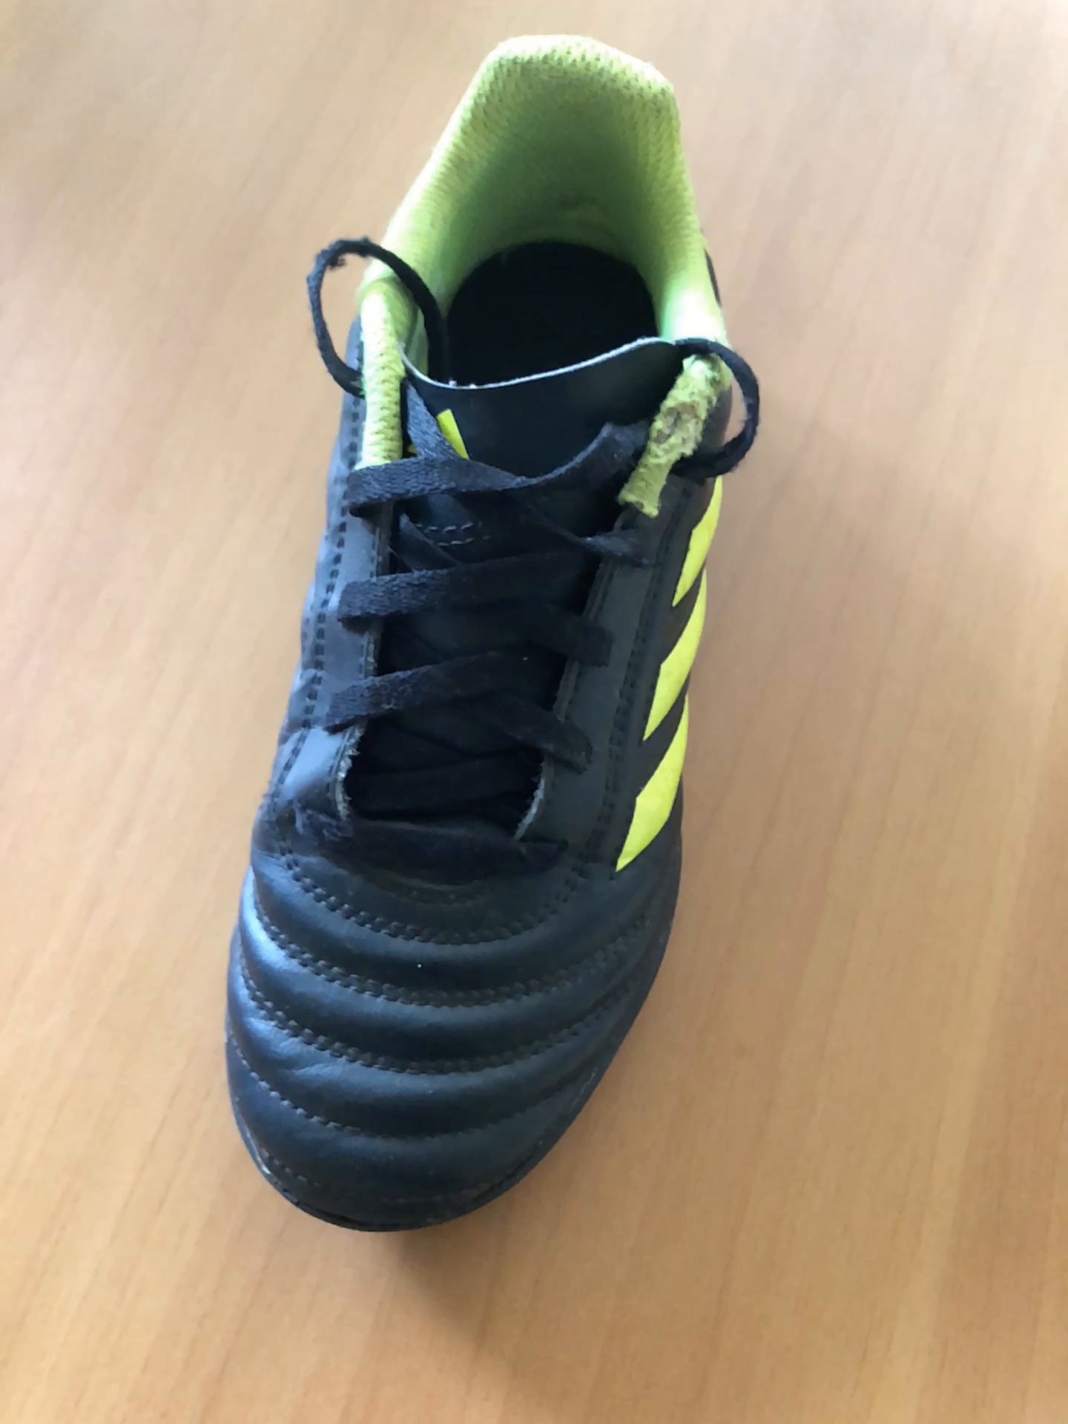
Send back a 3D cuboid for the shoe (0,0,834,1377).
[{"bbox_3d":[-0.007,-0.012,0.229,0.090,0.090,0.220,9,70,0],"label":"shoe"}]
